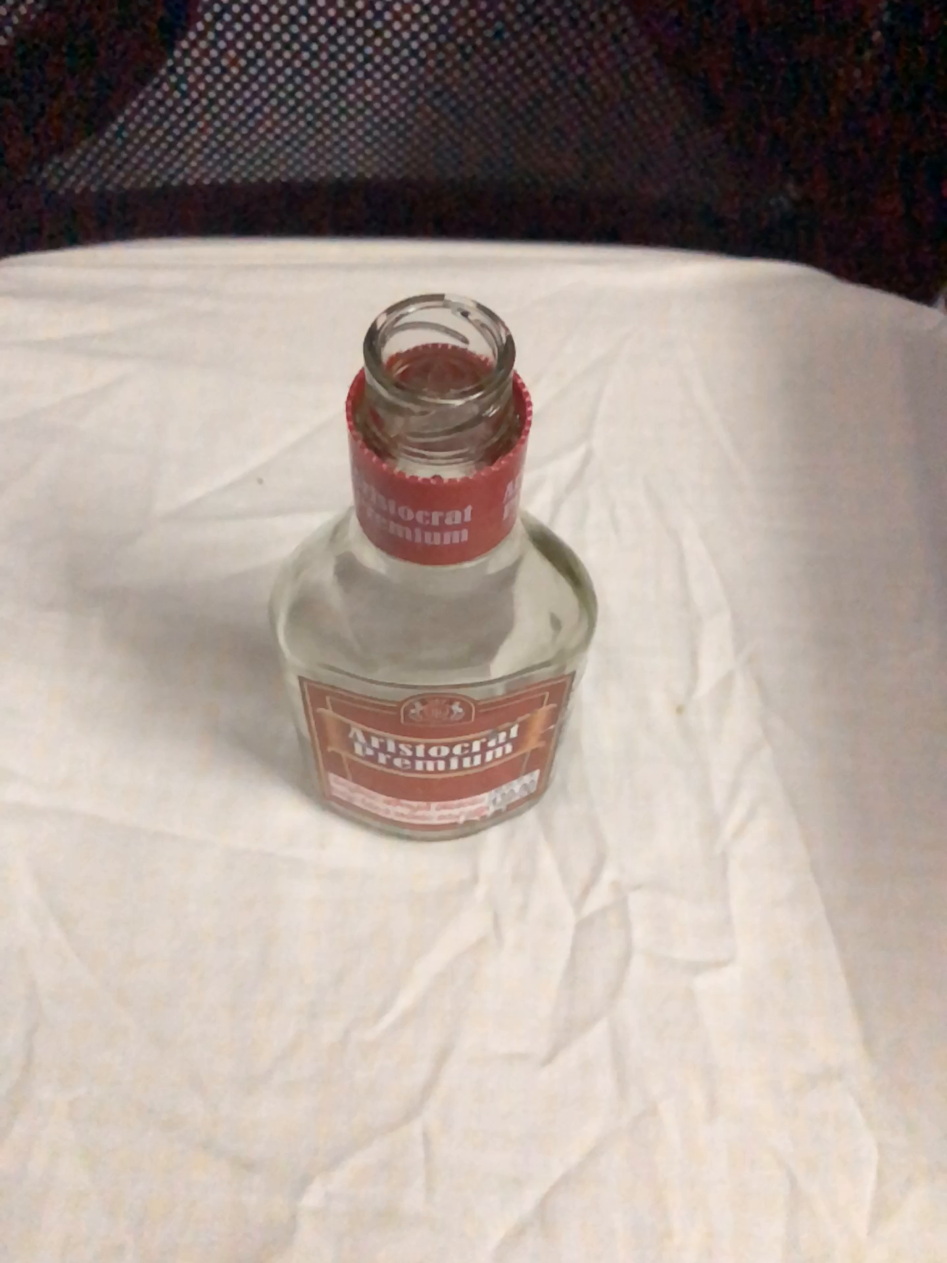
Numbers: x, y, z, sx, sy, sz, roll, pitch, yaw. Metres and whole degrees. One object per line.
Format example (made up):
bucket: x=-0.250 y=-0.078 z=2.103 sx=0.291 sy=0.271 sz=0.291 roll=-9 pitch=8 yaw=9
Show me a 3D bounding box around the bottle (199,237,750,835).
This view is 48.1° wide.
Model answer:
bottle: x=-0.006 y=-0.002 z=0.242 sx=0.080 sy=0.179 sz=0.040 roll=0 pitch=61 yaw=-5
